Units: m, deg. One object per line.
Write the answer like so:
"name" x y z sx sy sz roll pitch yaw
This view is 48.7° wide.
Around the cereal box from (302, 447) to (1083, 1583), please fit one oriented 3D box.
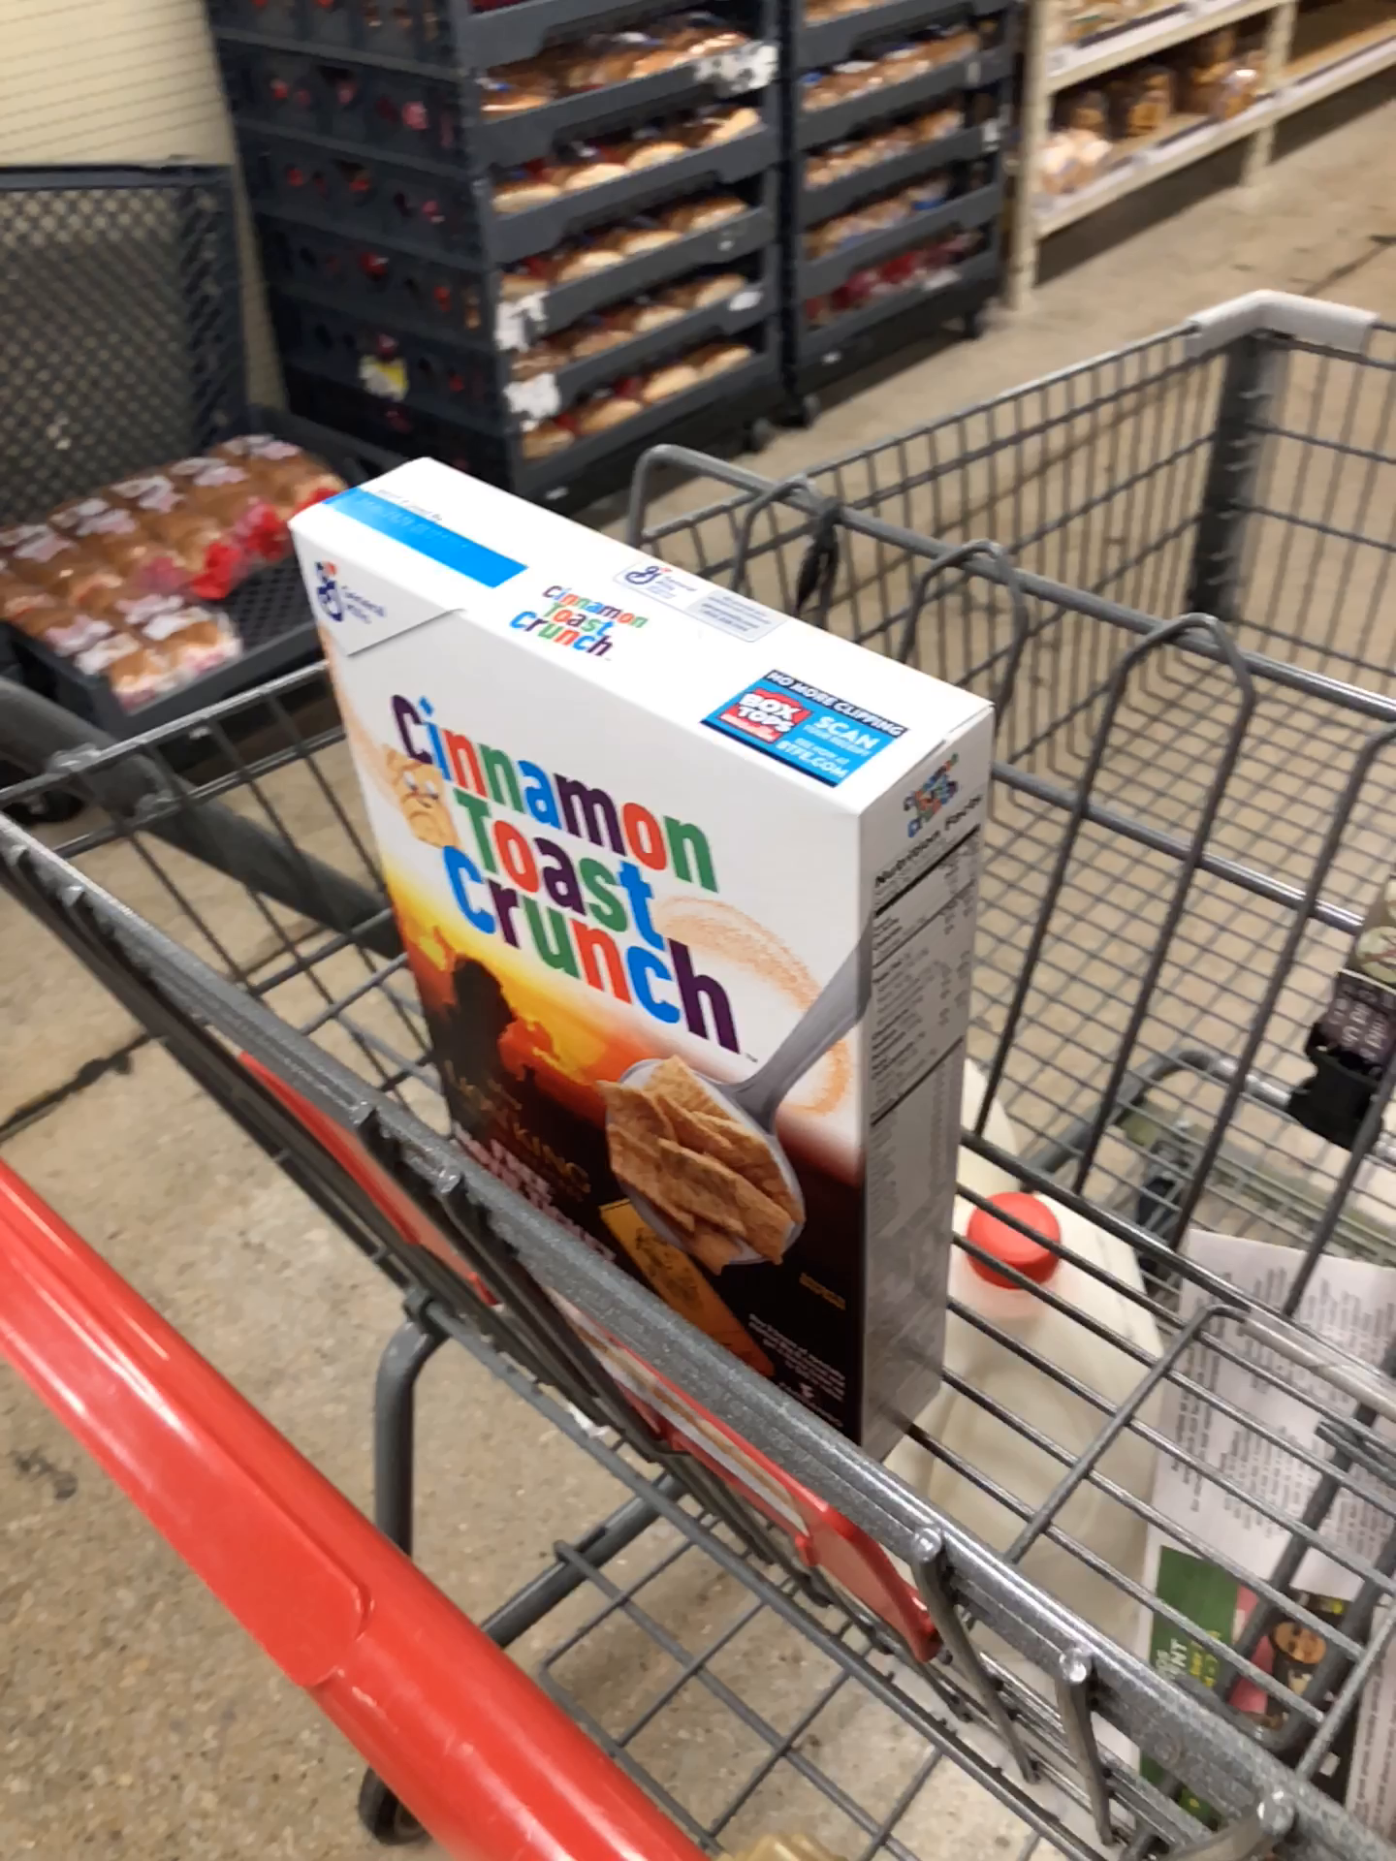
"cereal box" 0.001 0.037 0.463 0.050 0.309 0.210 -36 50 -28
